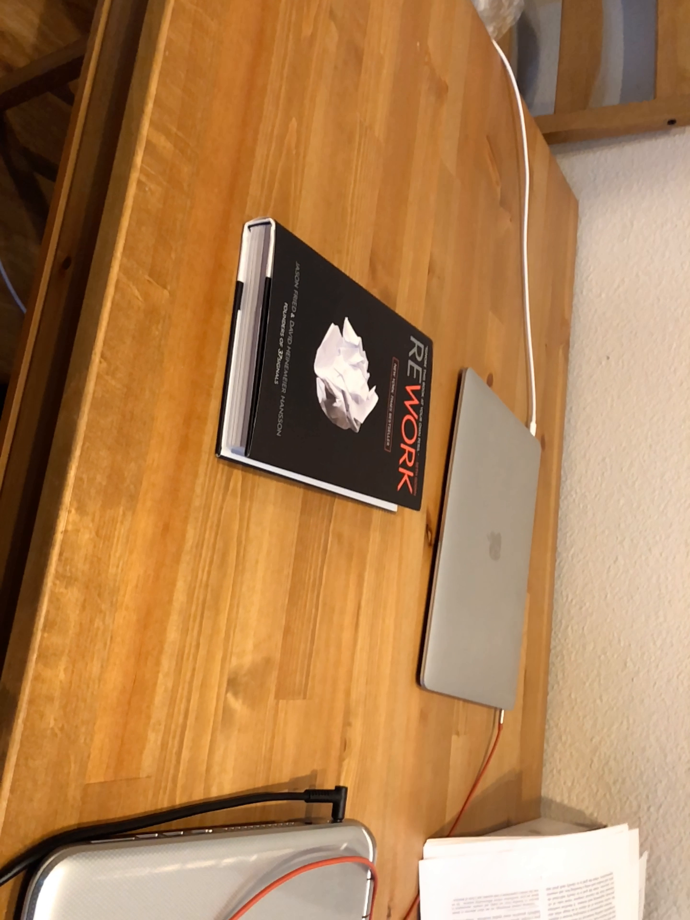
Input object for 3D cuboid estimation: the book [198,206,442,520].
[{"bbox_3d":[-0.002,-0.051,0.551,0.232,0.040,0.160,20,72,-56],"label":"book"}]
